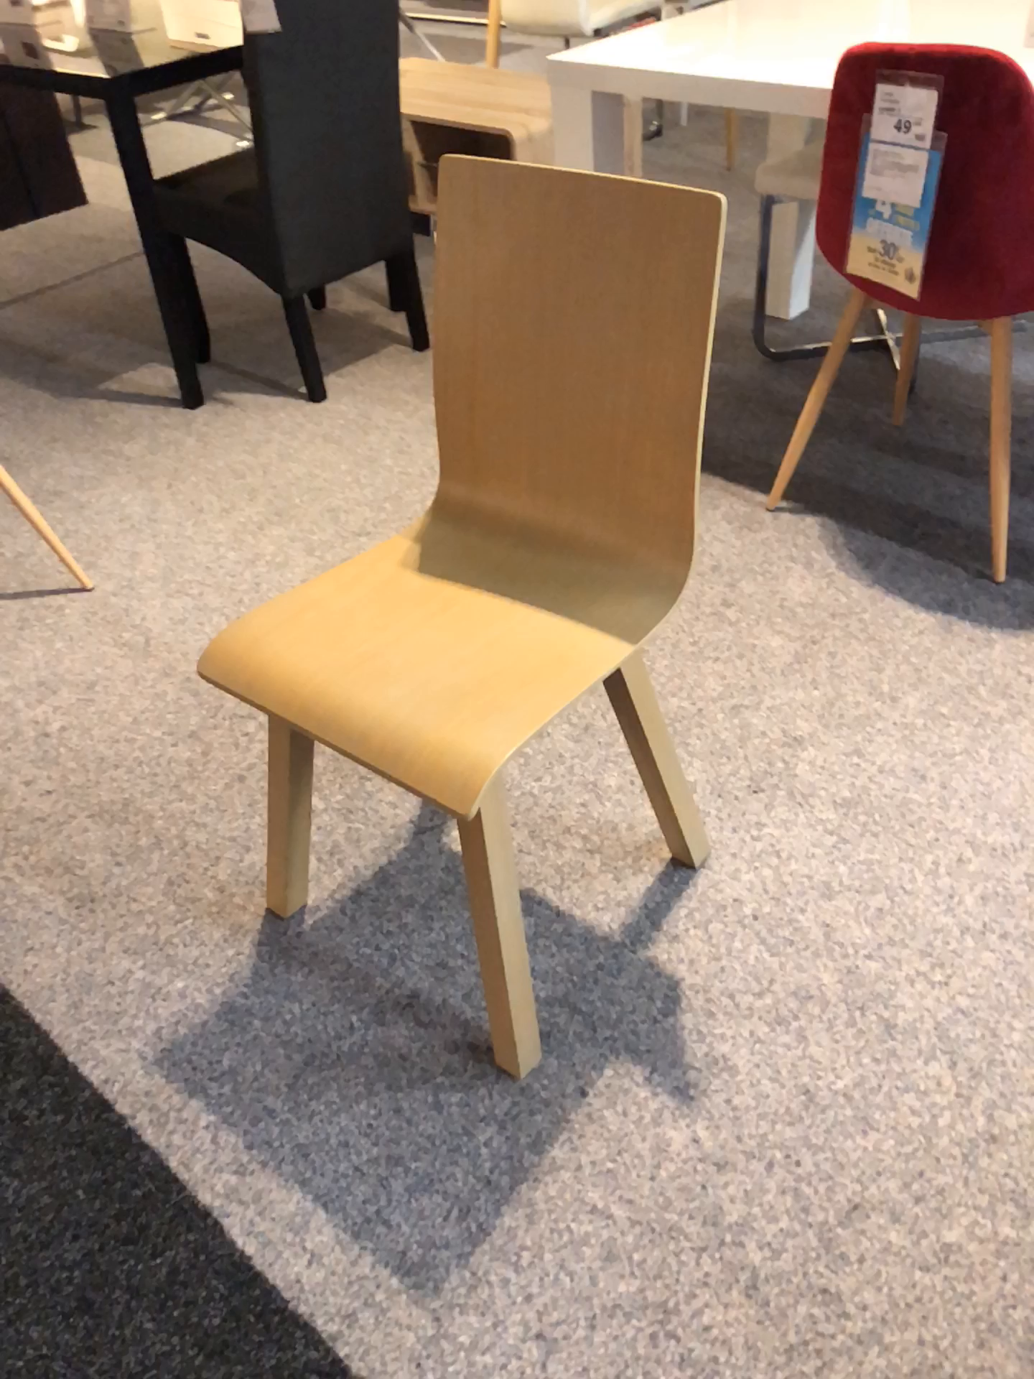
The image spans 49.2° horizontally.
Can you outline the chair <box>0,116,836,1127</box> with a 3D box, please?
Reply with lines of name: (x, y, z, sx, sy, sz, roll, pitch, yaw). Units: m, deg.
chair: (-0.054, -0.080, 1.217, 0.520, 0.835, 0.493, 24, 47, 31)
